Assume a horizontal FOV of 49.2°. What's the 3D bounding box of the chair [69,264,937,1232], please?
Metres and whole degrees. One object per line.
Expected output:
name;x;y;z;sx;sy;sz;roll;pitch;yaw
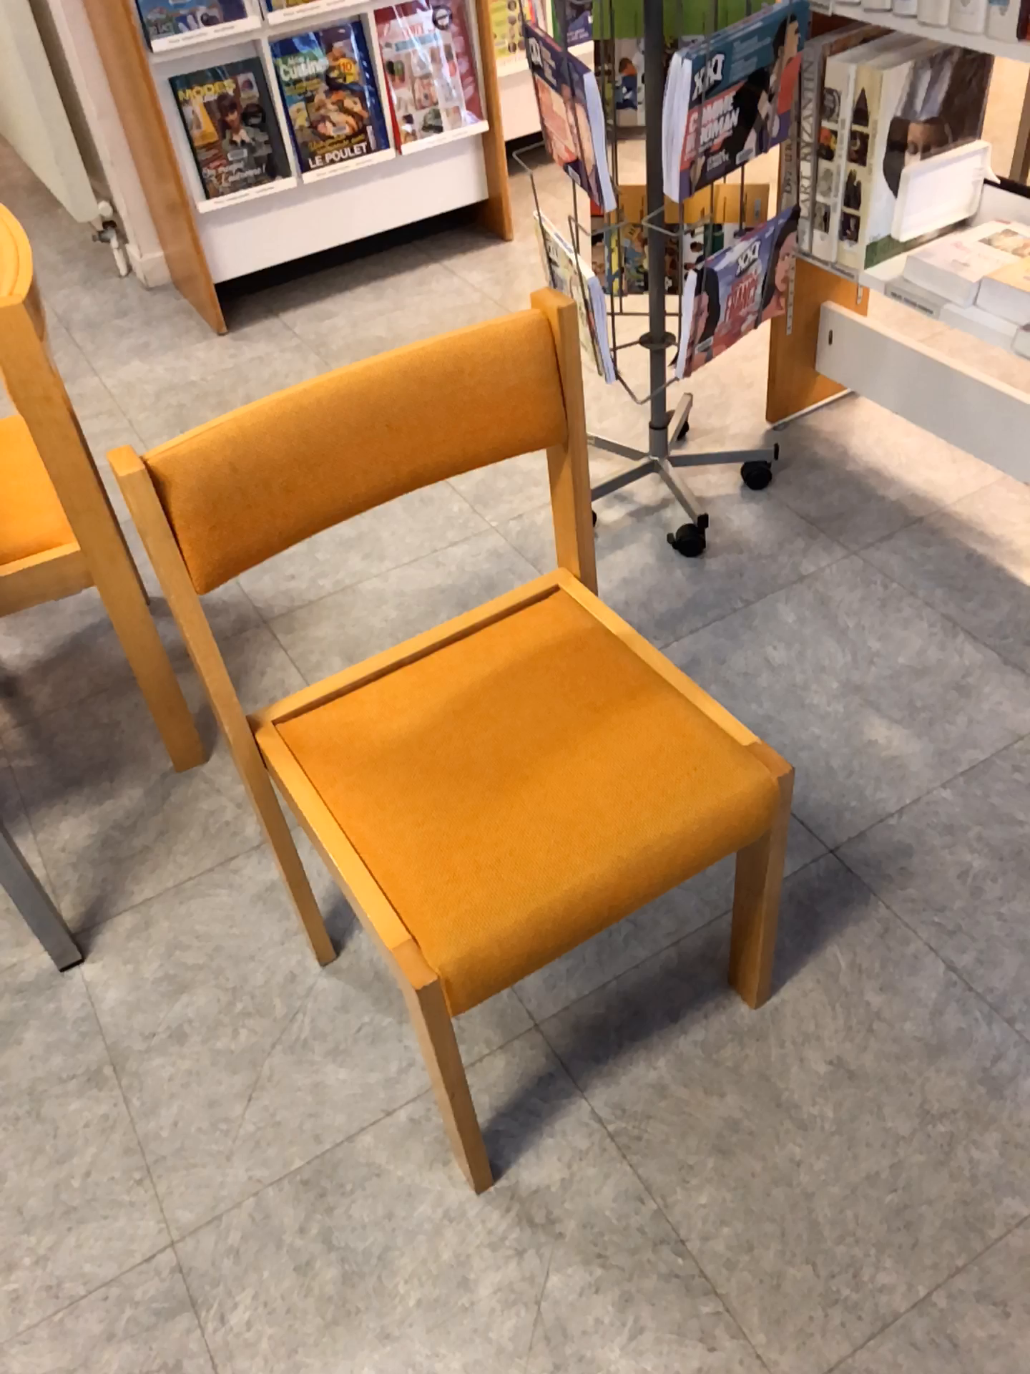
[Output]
chair;-0.007;0.055;1.191;0.551;0.696;0.521;-26;46;-19
